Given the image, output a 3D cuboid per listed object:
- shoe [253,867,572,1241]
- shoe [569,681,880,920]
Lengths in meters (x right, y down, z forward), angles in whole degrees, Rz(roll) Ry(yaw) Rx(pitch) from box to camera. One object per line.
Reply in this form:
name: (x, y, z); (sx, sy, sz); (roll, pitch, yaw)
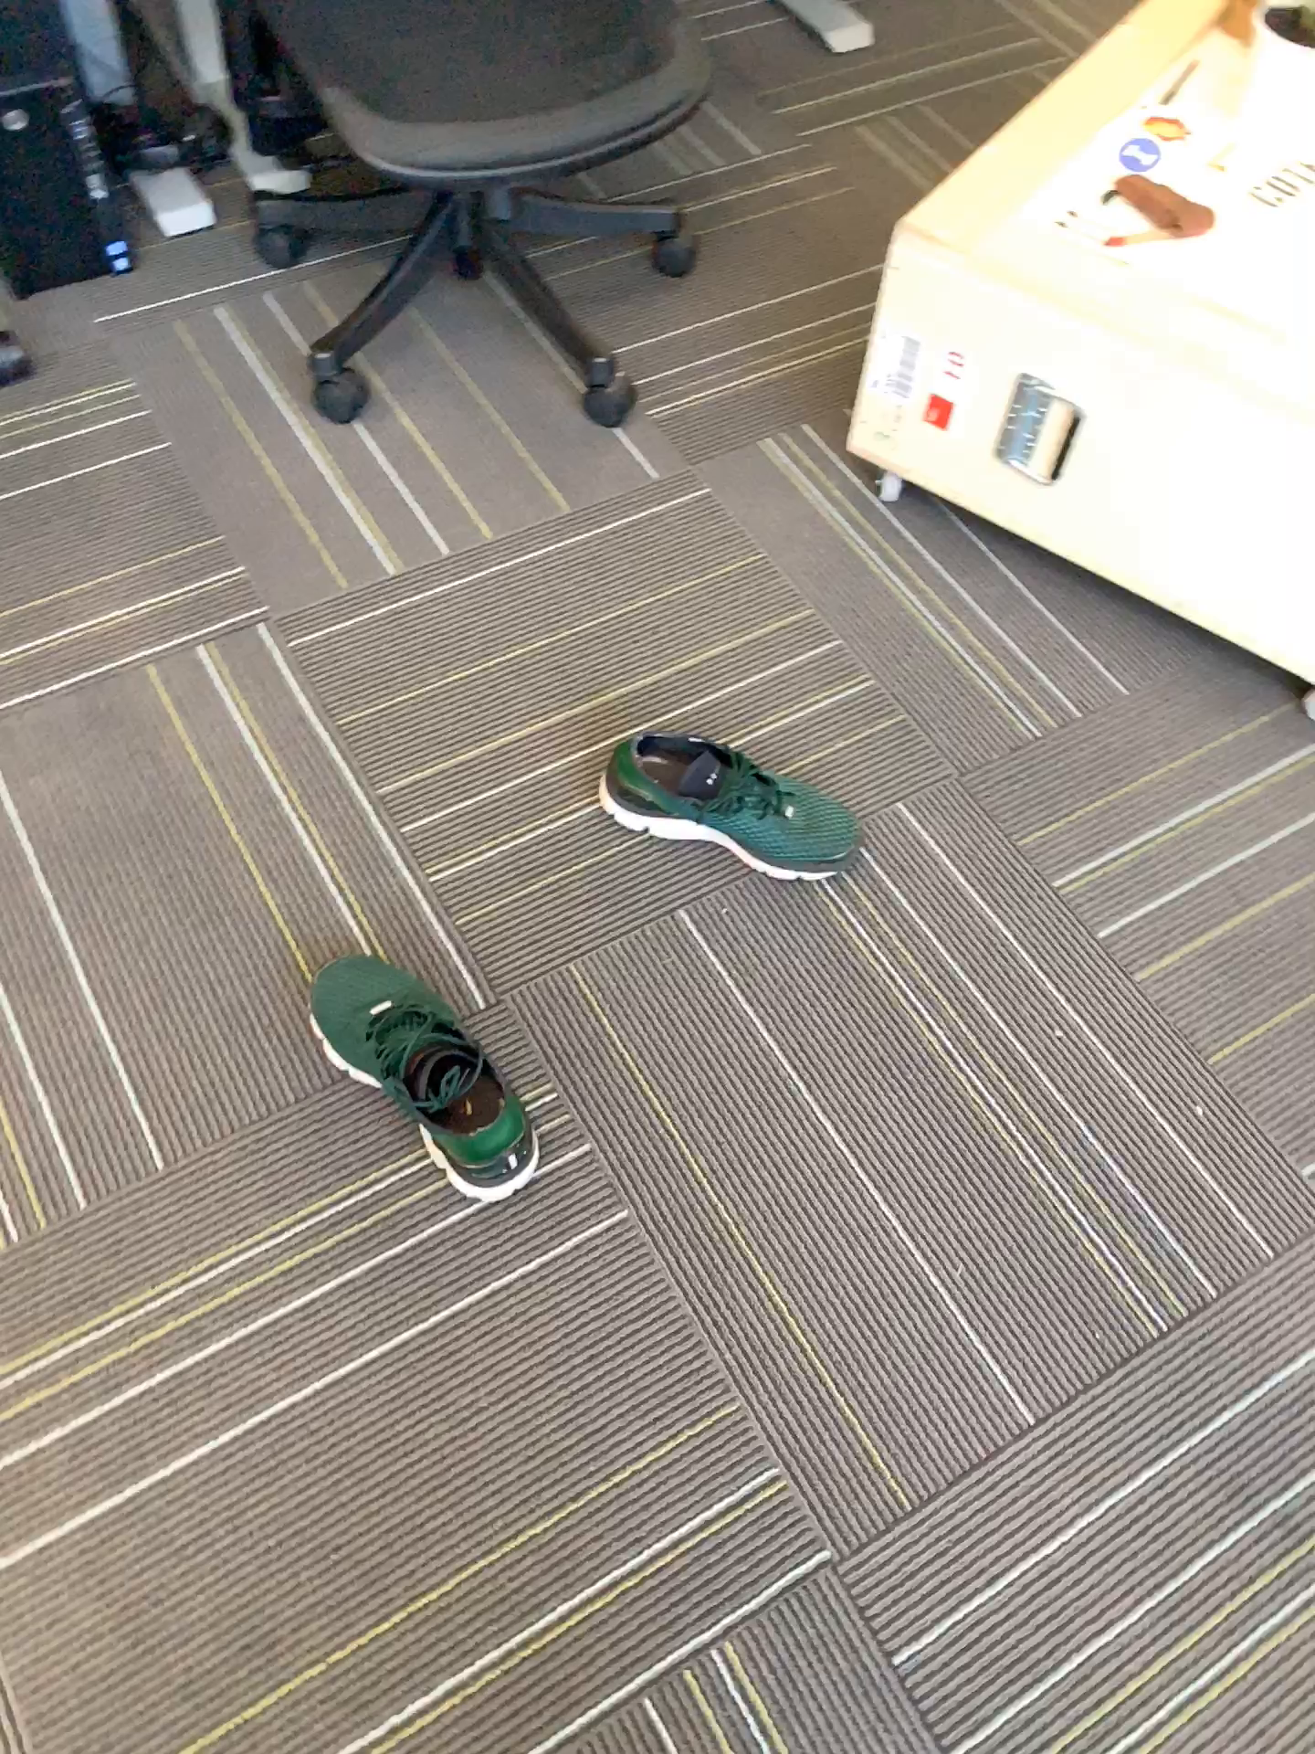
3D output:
shoe: (-0.230, 0.164, 1.272); (0.130, 0.140, 0.311); (-35, 66, -23)
shoe: (0.069, -0.085, 1.494); (0.310, 0.140, 0.130); (16, 58, 7)
